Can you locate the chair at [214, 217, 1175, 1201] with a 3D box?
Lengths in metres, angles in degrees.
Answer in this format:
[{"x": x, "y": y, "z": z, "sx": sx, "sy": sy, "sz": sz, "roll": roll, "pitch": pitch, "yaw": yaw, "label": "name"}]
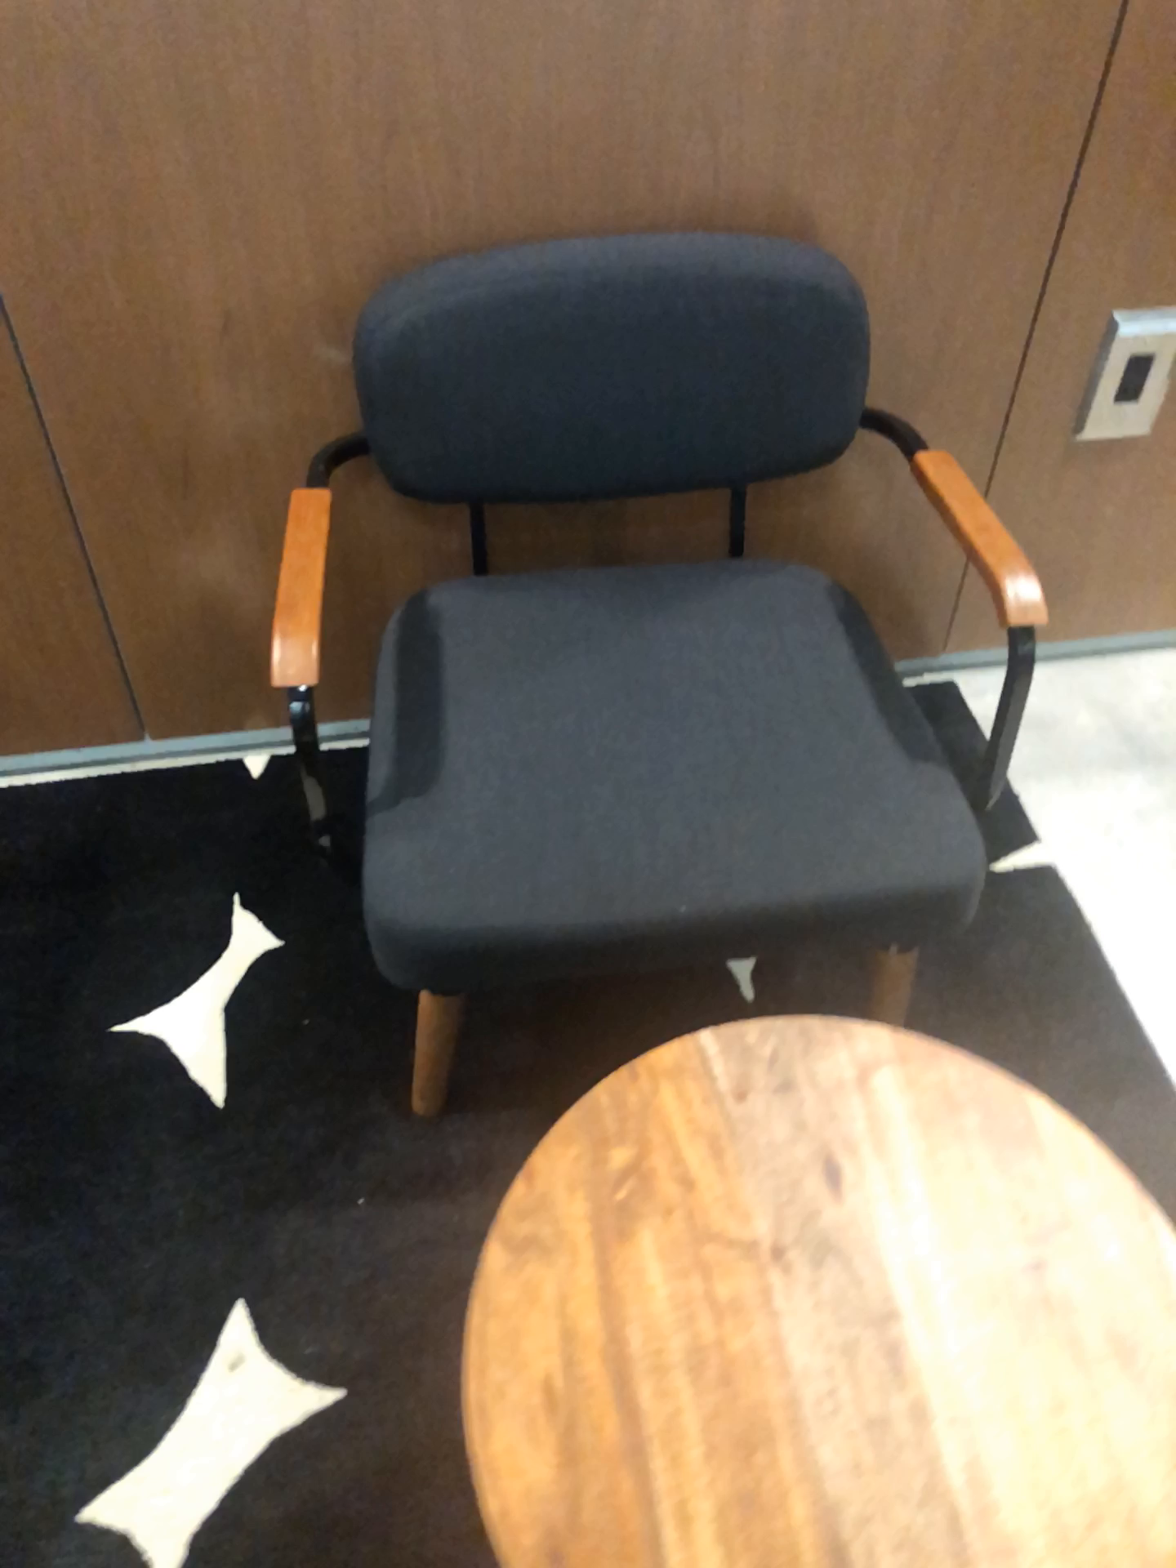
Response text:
[{"x": 0.044, "y": -0.095, "z": 1.375, "sx": 0.680, "sy": 0.714, "sz": 0.685, "roll": -5, "pitch": 44, "yaw": -6, "label": "chair"}]
